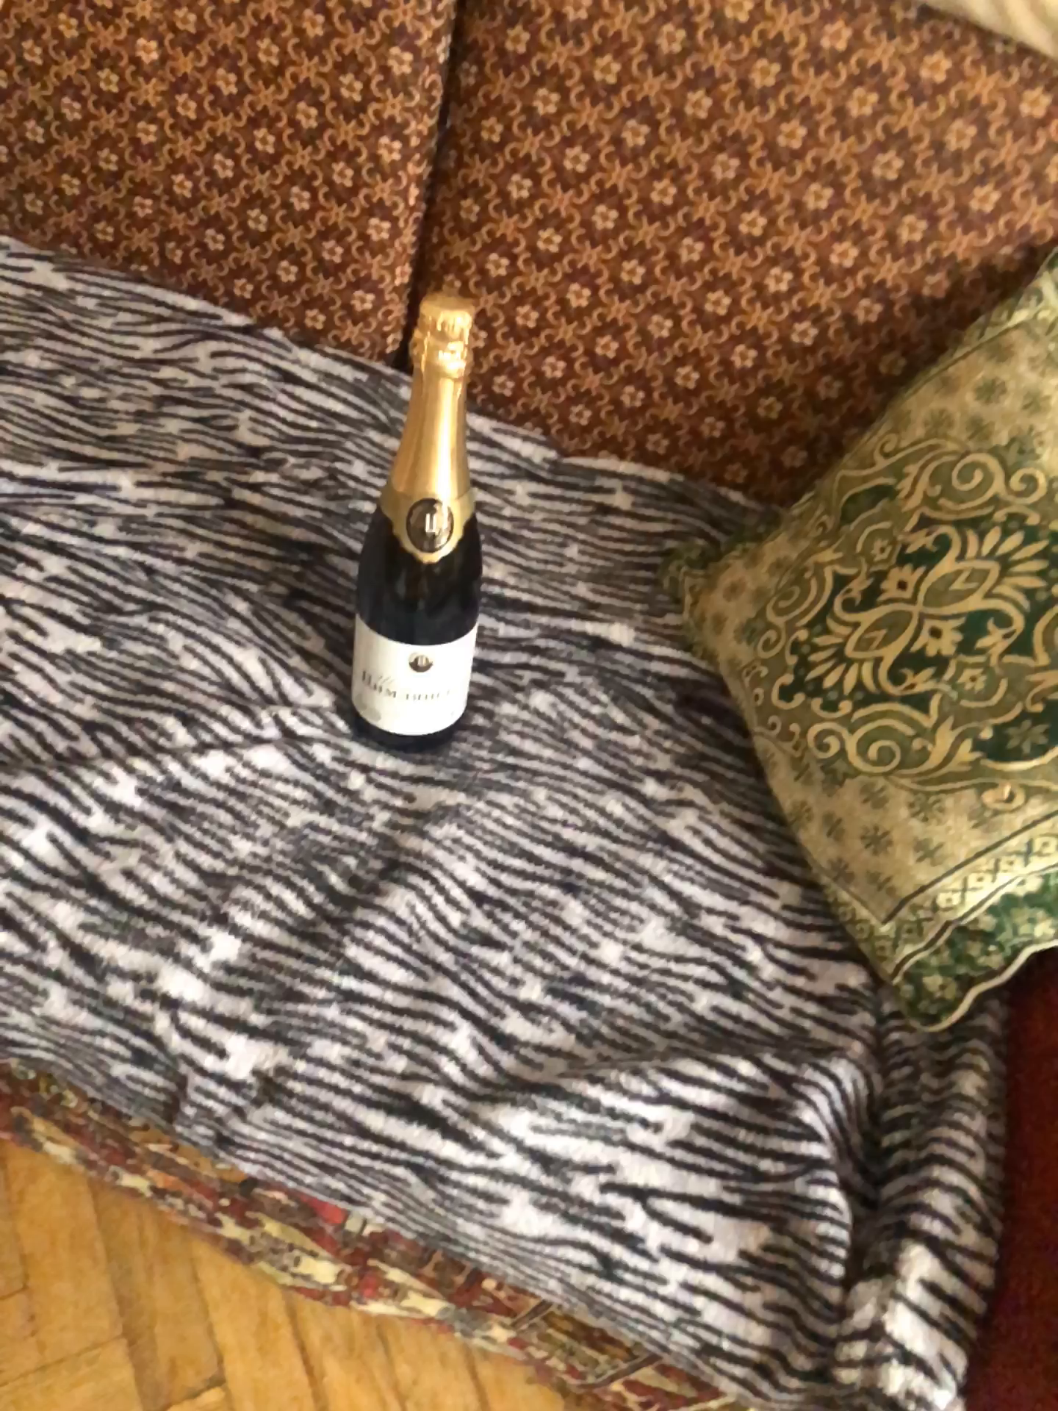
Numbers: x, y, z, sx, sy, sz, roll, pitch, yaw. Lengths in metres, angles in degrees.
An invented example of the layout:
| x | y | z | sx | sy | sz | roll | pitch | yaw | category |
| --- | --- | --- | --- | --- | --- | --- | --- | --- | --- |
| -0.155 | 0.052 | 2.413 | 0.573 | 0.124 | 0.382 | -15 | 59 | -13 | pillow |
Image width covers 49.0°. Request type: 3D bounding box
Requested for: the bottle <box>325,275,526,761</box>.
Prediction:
| x | y | z | sx | sy | sz | roll | pitch | yaw | category |
| --- | --- | --- | --- | --- | --- | --- | --- | --- | --- |
| -0.067 | -0.102 | 0.714 | 0.100 | 0.278 | 0.101 | 5 | 43 | -4 | bottle |
